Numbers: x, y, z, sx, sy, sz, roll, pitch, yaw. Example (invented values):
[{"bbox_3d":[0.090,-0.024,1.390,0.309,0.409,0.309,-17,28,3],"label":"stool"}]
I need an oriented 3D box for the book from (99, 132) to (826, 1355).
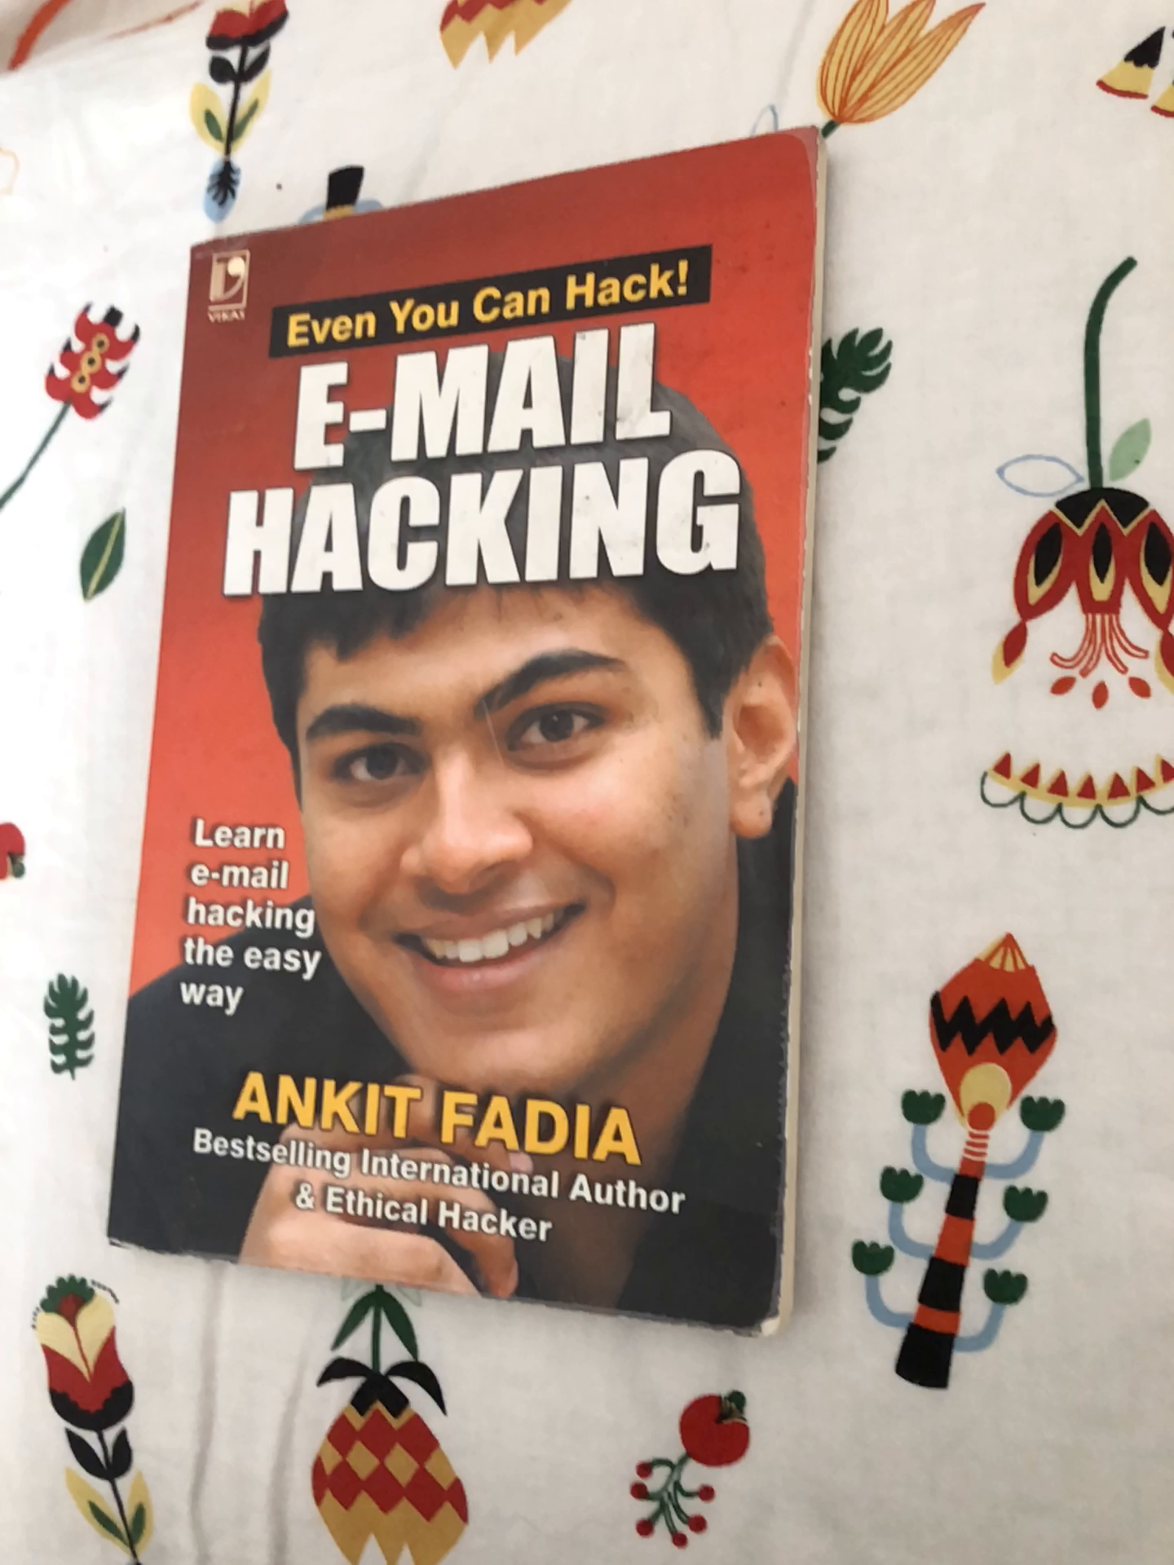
[{"bbox_3d":[-0.026,-0.009,0.251,0.138,0.020,0.204,0,86,21],"label":"book"}]
